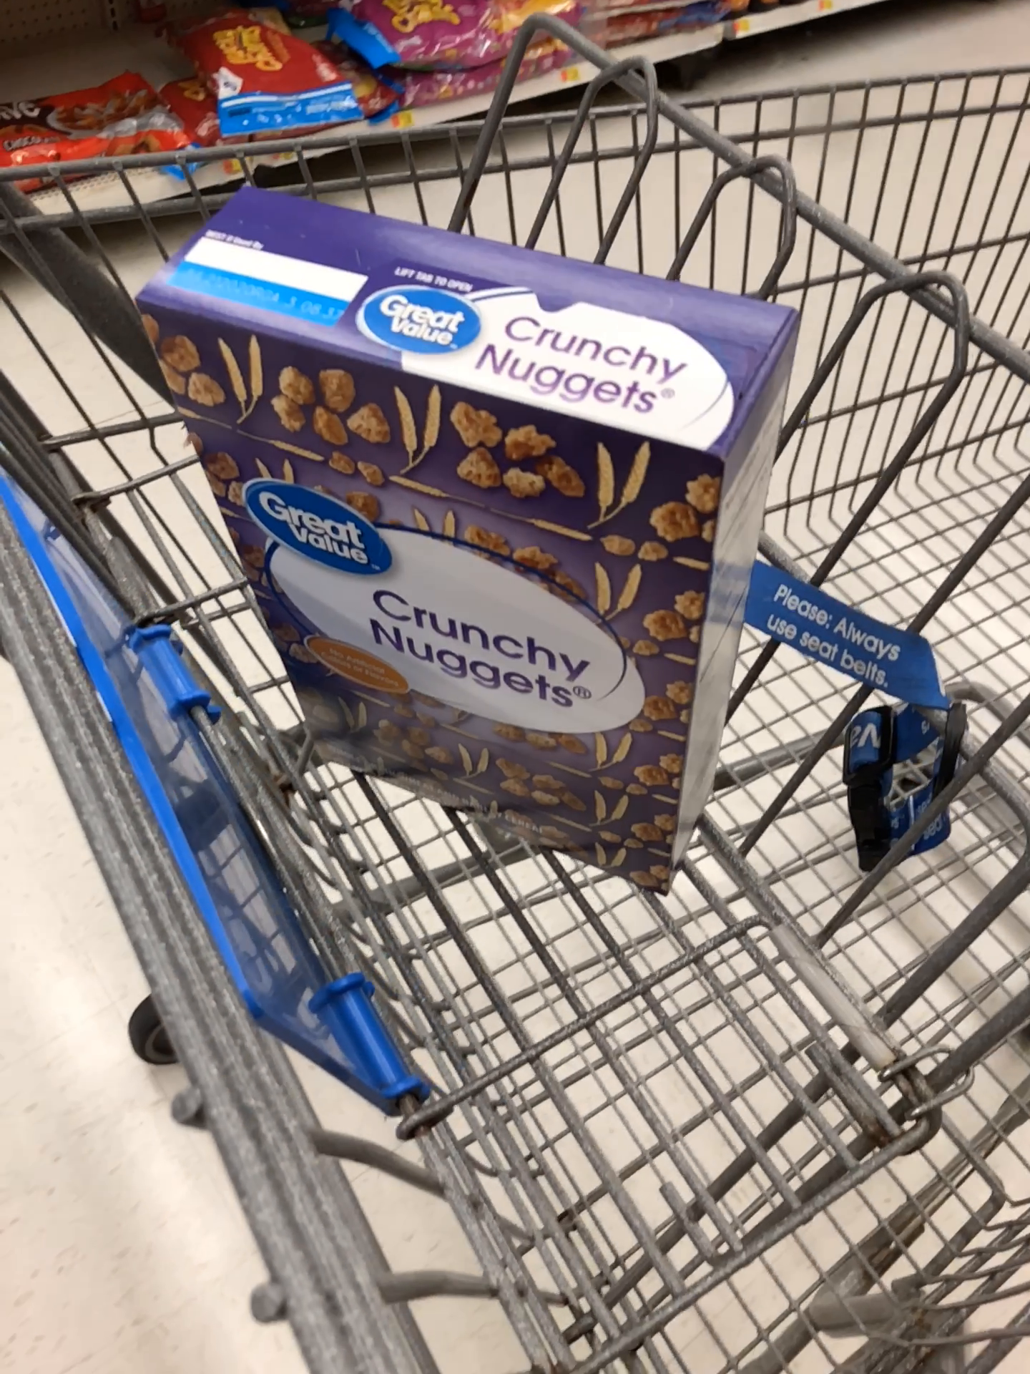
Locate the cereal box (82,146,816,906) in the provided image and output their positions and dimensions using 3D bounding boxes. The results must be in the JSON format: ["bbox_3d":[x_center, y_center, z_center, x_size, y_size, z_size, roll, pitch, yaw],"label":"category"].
[{"bbox_3d":[-0.015,-0.032,0.377,0.170,0.240,0.060,19,59,14],"label":"cereal box"}]
